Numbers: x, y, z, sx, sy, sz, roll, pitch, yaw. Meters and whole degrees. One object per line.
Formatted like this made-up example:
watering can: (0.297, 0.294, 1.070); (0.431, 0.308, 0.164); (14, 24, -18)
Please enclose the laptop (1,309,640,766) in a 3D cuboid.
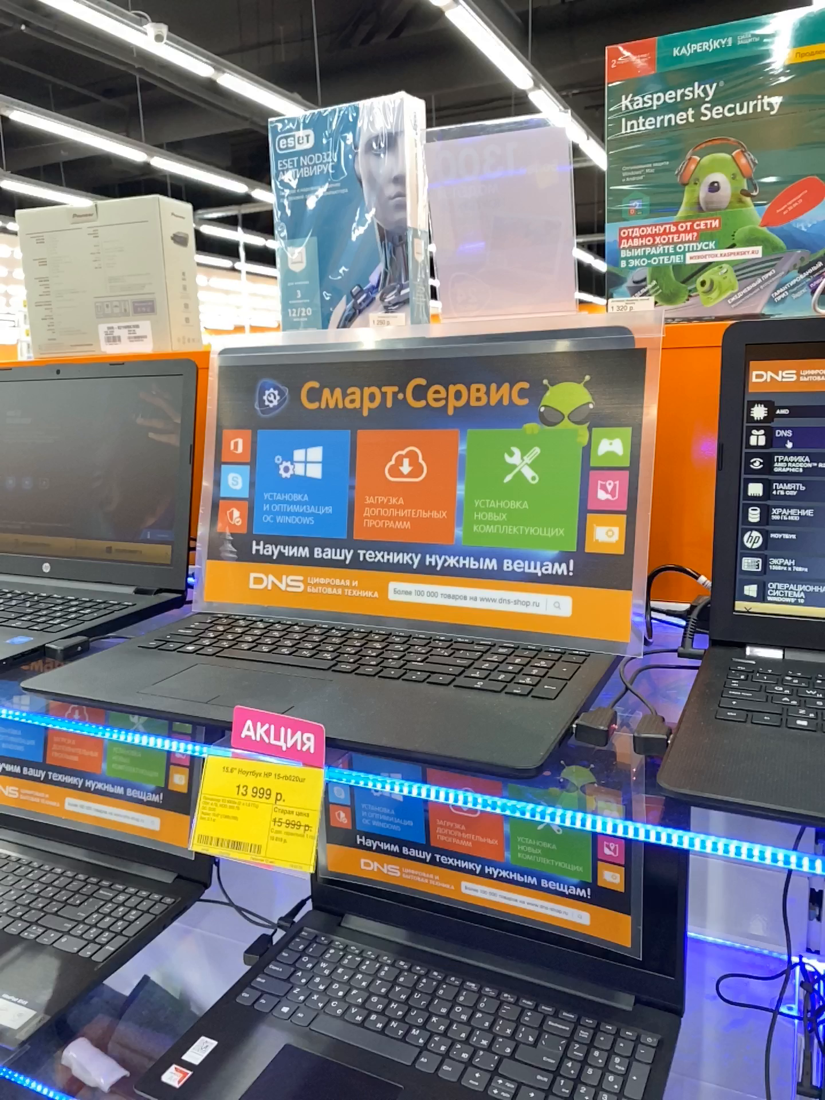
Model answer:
laptop: (-0.052, -0.035, 0.627); (0.377, 0.235, 0.262); (3, 11, 26)
